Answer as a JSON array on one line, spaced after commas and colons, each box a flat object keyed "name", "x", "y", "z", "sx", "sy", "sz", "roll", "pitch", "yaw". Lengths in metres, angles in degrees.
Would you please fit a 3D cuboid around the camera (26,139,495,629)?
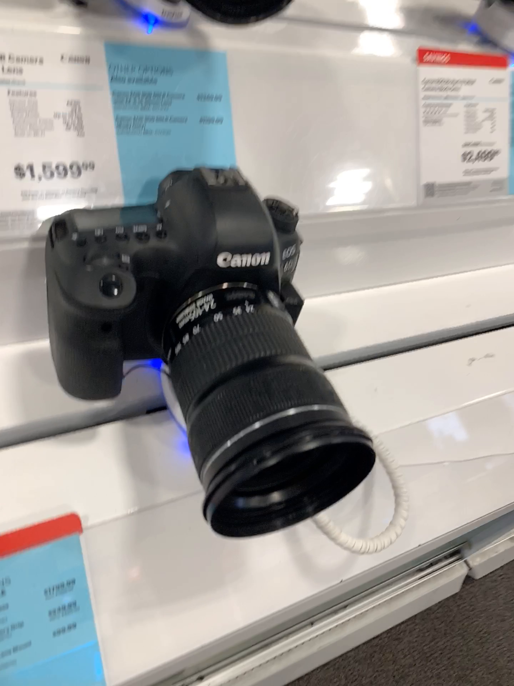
[{"name": "camera", "x": -0.021, "y": 0.006, "z": 0.261, "sx": 0.137, "sy": 0.123, "sz": 0.180, "roll": -10, "pitch": 55, "yaw": -25}]
